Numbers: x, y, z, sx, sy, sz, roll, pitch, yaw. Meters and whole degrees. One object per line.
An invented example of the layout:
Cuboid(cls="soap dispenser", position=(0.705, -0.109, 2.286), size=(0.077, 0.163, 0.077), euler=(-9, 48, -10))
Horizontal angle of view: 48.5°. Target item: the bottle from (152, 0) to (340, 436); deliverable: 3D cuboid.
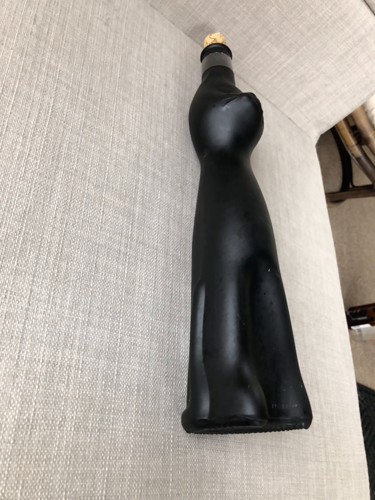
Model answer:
Cuboid(cls="bottle", position=(0.036, -0.032, 0.310), size=(0.078, 0.079, 0.311), euler=(21, 59, -39))
